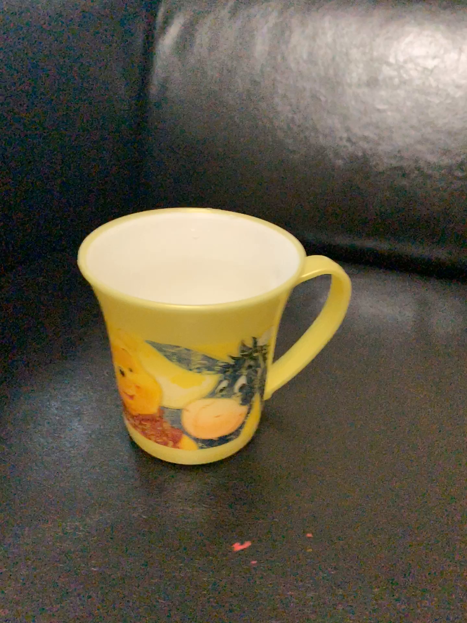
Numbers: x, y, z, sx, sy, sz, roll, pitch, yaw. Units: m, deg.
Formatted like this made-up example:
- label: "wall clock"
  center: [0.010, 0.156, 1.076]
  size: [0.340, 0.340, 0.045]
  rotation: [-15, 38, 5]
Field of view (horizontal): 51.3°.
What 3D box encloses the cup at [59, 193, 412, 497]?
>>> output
- label: "cup"
  center: [-0.005, 0.004, 0.222]
  size: [0.120, 0.080, 0.090]
  rotation: [-11, 33, -22]
